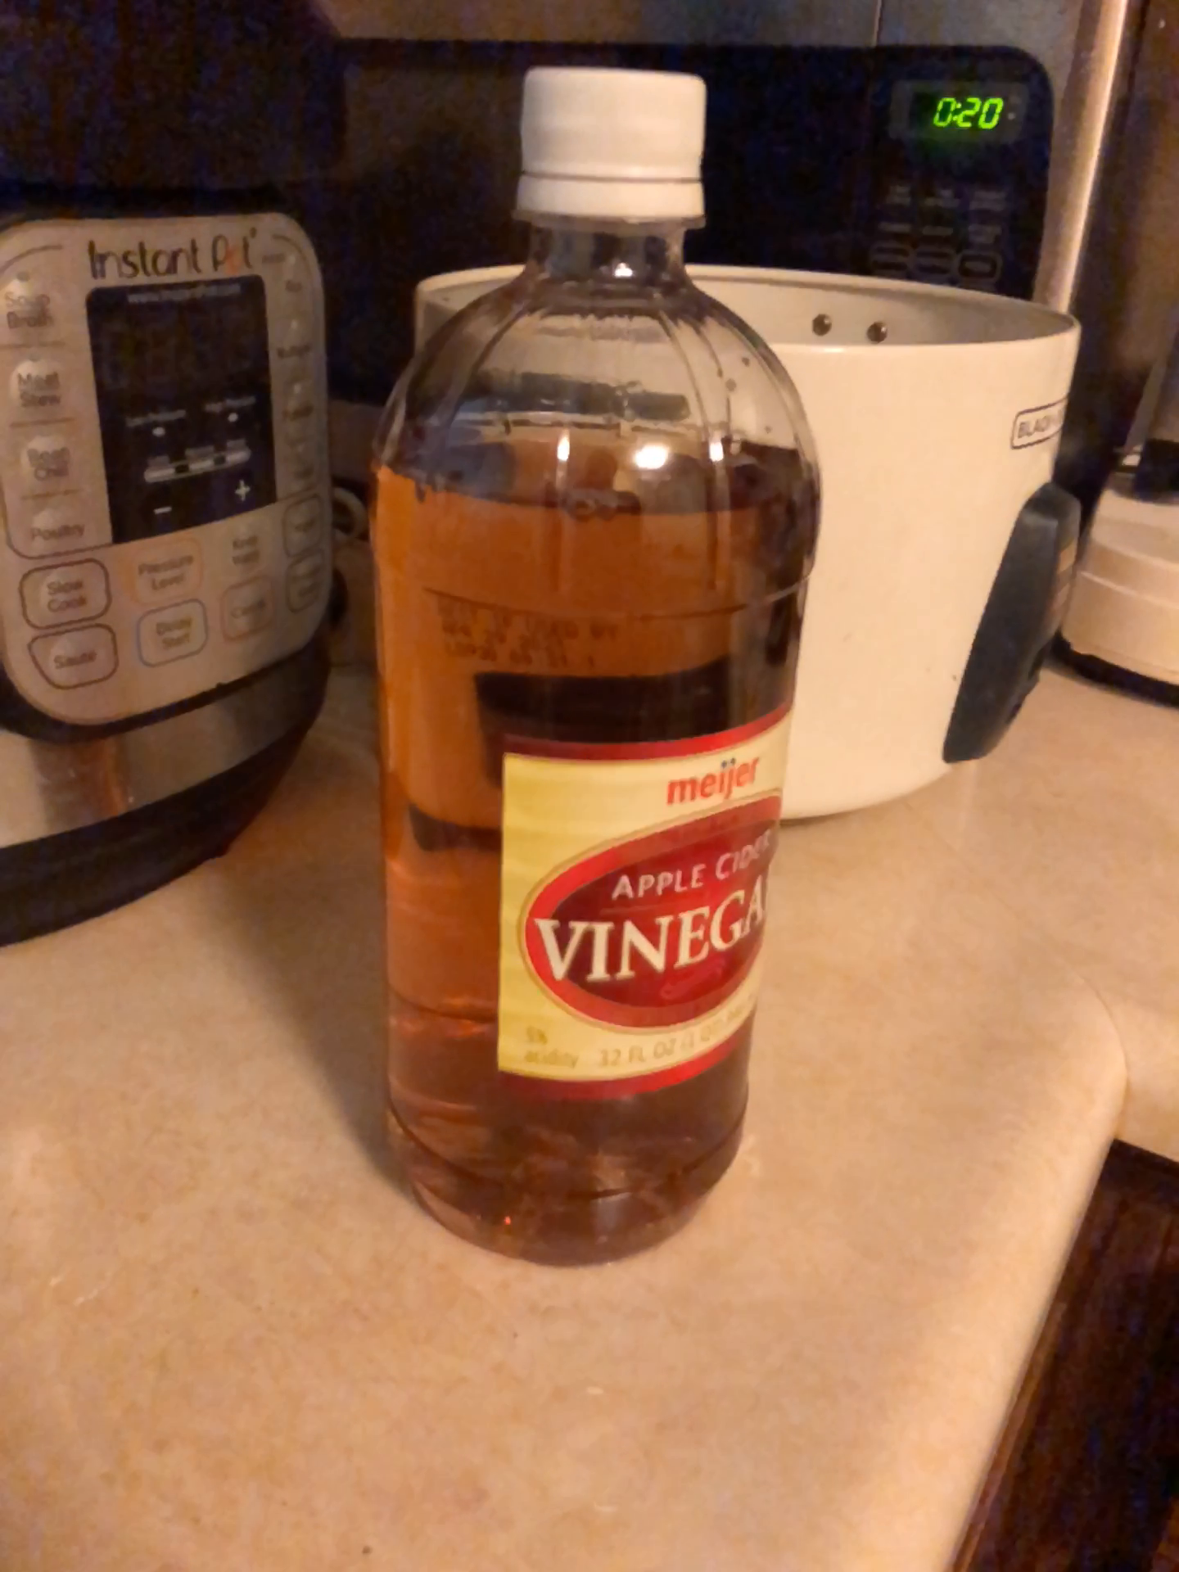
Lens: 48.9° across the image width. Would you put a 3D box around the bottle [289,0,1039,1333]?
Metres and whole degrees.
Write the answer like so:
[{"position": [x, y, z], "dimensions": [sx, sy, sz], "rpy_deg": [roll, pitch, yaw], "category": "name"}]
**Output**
[{"position": [0.005, -0.020, 0.258], "dimensions": [0.090, 0.229, 0.080], "rpy_deg": [-14, 31, -30], "category": "bottle"}]
